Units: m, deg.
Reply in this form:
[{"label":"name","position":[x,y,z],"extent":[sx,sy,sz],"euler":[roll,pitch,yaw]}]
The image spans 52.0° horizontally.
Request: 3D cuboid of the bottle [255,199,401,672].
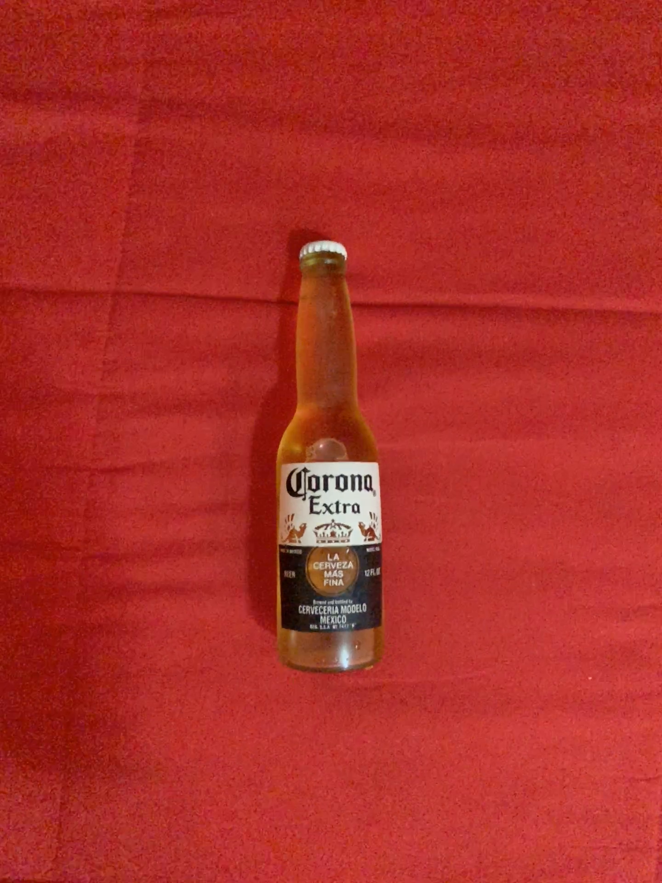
[{"label":"bottle","position":[-0.002,-0.003,0.397],"extent":[0.070,0.070,0.250],"euler":[-2,90,0]}]
